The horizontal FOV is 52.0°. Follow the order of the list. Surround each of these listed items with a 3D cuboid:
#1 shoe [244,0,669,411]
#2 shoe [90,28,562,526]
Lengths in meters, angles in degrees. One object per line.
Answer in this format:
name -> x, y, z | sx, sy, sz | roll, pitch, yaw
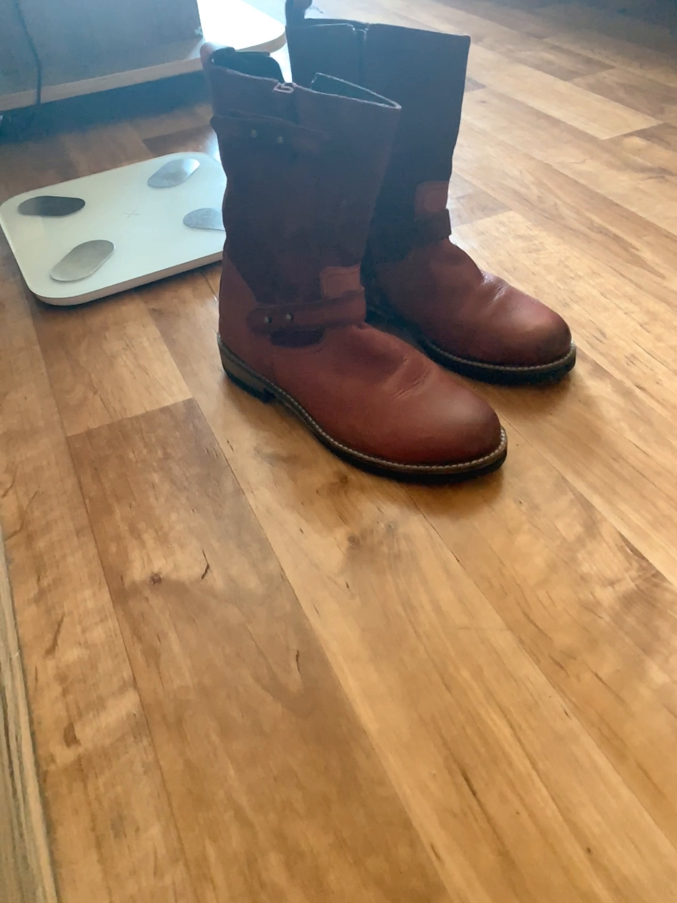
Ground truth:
shoe -> 0.071, -0.190, 0.515 | 0.251, 0.239, 0.090 | 26, 52, 29
shoe -> -0.009, -0.117, 0.464 | 0.251, 0.249, 0.100 | 26, 52, 29
